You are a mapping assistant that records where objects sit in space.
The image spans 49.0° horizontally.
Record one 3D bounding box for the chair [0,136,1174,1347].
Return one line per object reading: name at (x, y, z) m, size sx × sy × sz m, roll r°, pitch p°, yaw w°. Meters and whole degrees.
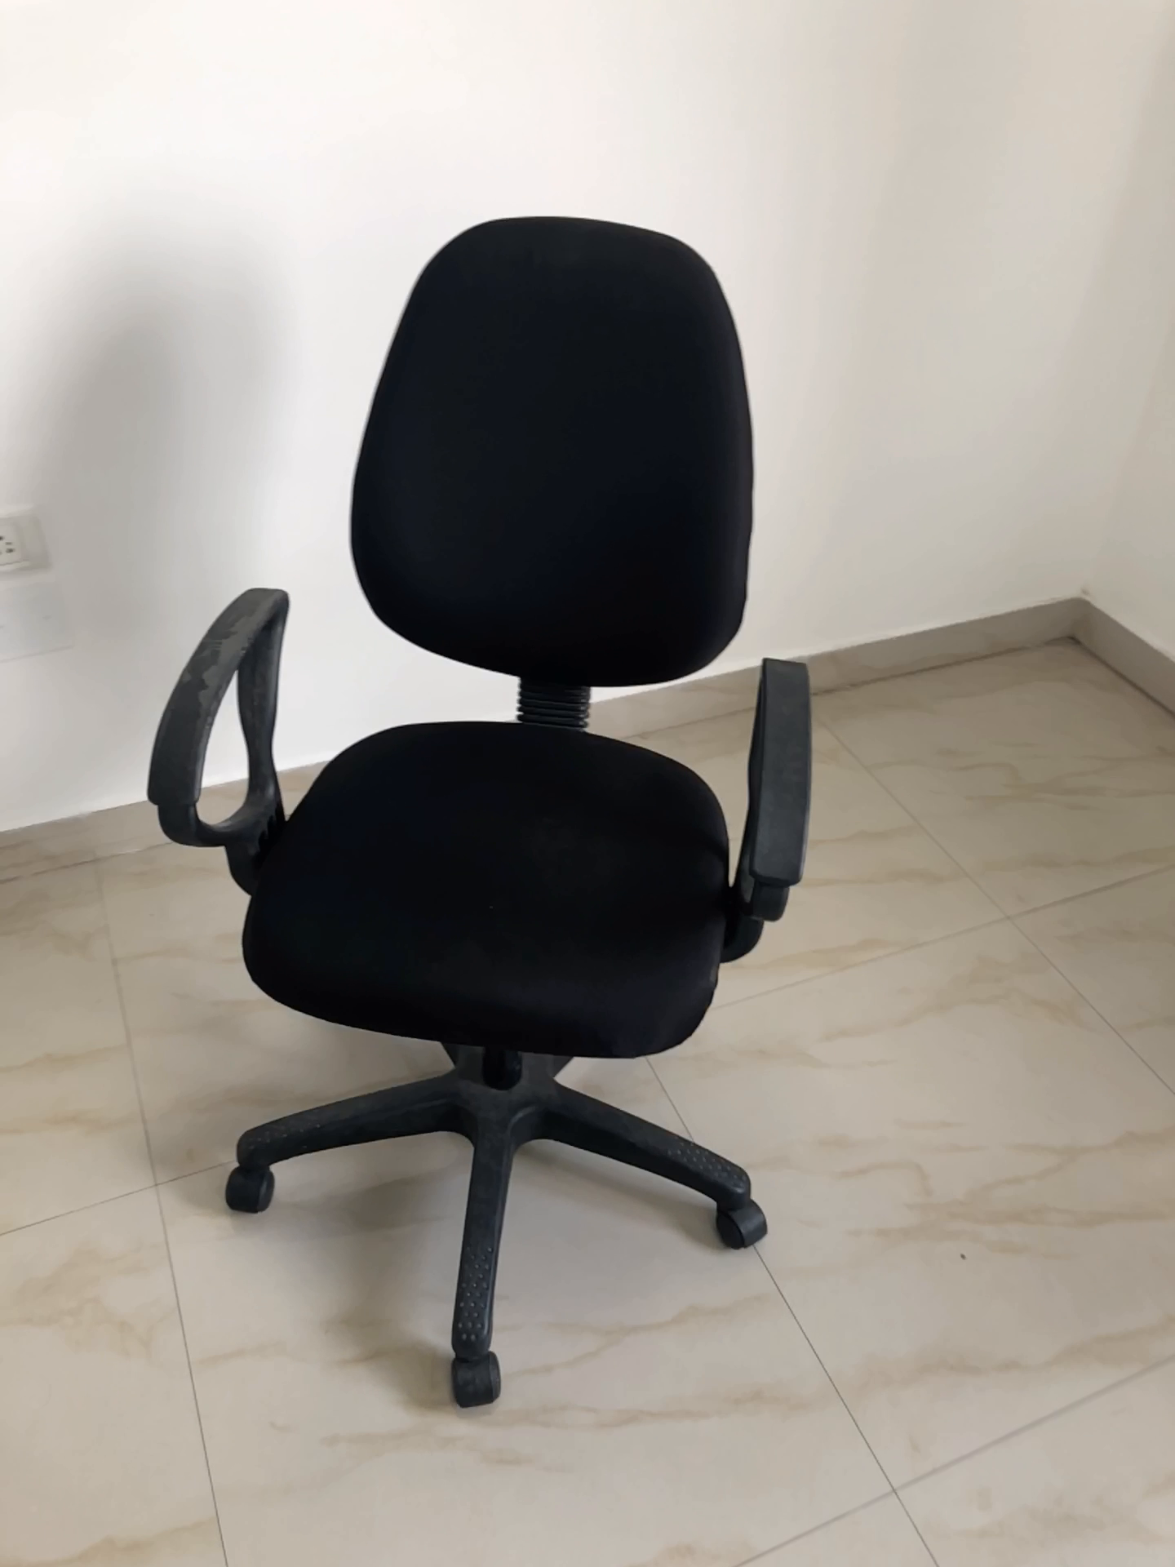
chair at (-0.012, -0.037, 1.223) m, size 0.680 × 0.884 × 0.675 m, roll 3°, pitch 39°, yaw 1°
